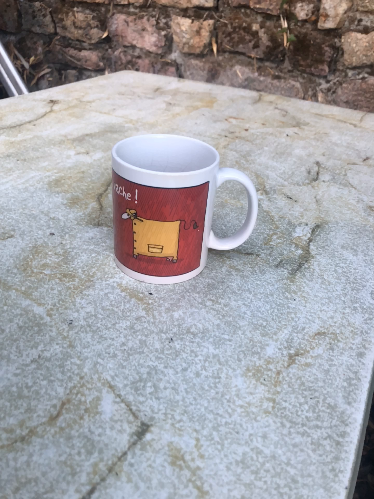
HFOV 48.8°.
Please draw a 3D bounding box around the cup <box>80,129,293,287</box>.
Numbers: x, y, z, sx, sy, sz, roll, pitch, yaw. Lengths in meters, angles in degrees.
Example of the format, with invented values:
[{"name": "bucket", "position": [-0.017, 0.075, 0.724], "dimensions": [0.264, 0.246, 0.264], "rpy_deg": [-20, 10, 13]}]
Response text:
[{"name": "cup", "position": [-0.004, -0.033, 0.307], "dimensions": [0.129, 0.083, 0.087], "rpy_deg": [-1, 34, -6]}]
